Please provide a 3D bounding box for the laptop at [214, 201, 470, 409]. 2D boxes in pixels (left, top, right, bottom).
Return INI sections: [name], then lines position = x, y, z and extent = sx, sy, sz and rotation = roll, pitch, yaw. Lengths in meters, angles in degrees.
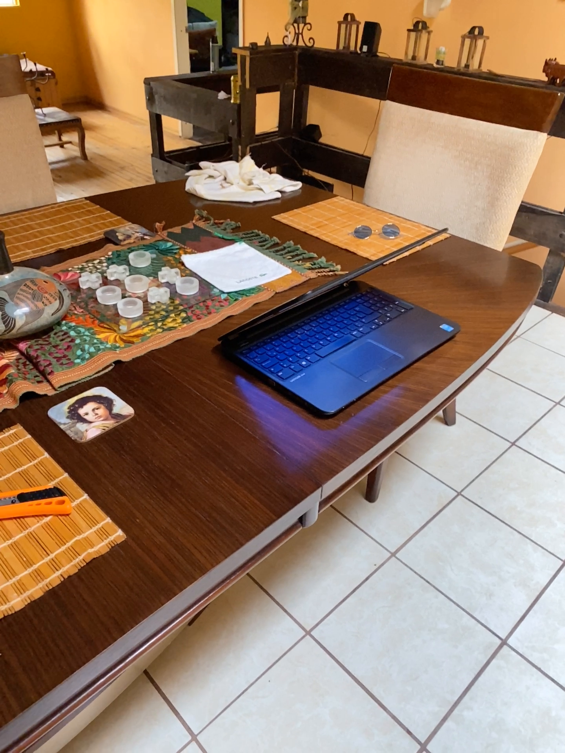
[laptop]
position = 0.100, -0.144, 0.968
extent = 0.248, 0.158, 0.357
rotation = 31, 45, 34
